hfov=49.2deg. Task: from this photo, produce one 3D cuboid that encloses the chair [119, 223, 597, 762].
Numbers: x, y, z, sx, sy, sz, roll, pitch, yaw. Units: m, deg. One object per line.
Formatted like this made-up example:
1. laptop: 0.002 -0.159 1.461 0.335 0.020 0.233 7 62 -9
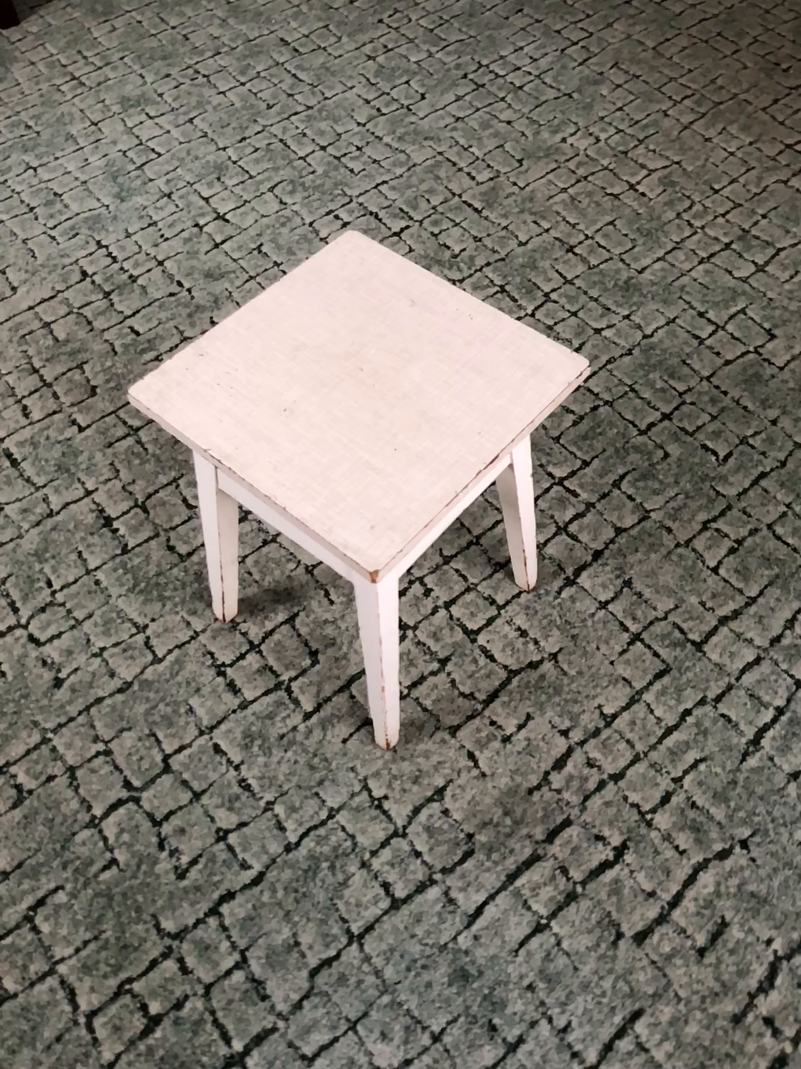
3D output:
1. chair: -0.035 -0.034 1.048 0.335 0.447 0.333 35 64 22
